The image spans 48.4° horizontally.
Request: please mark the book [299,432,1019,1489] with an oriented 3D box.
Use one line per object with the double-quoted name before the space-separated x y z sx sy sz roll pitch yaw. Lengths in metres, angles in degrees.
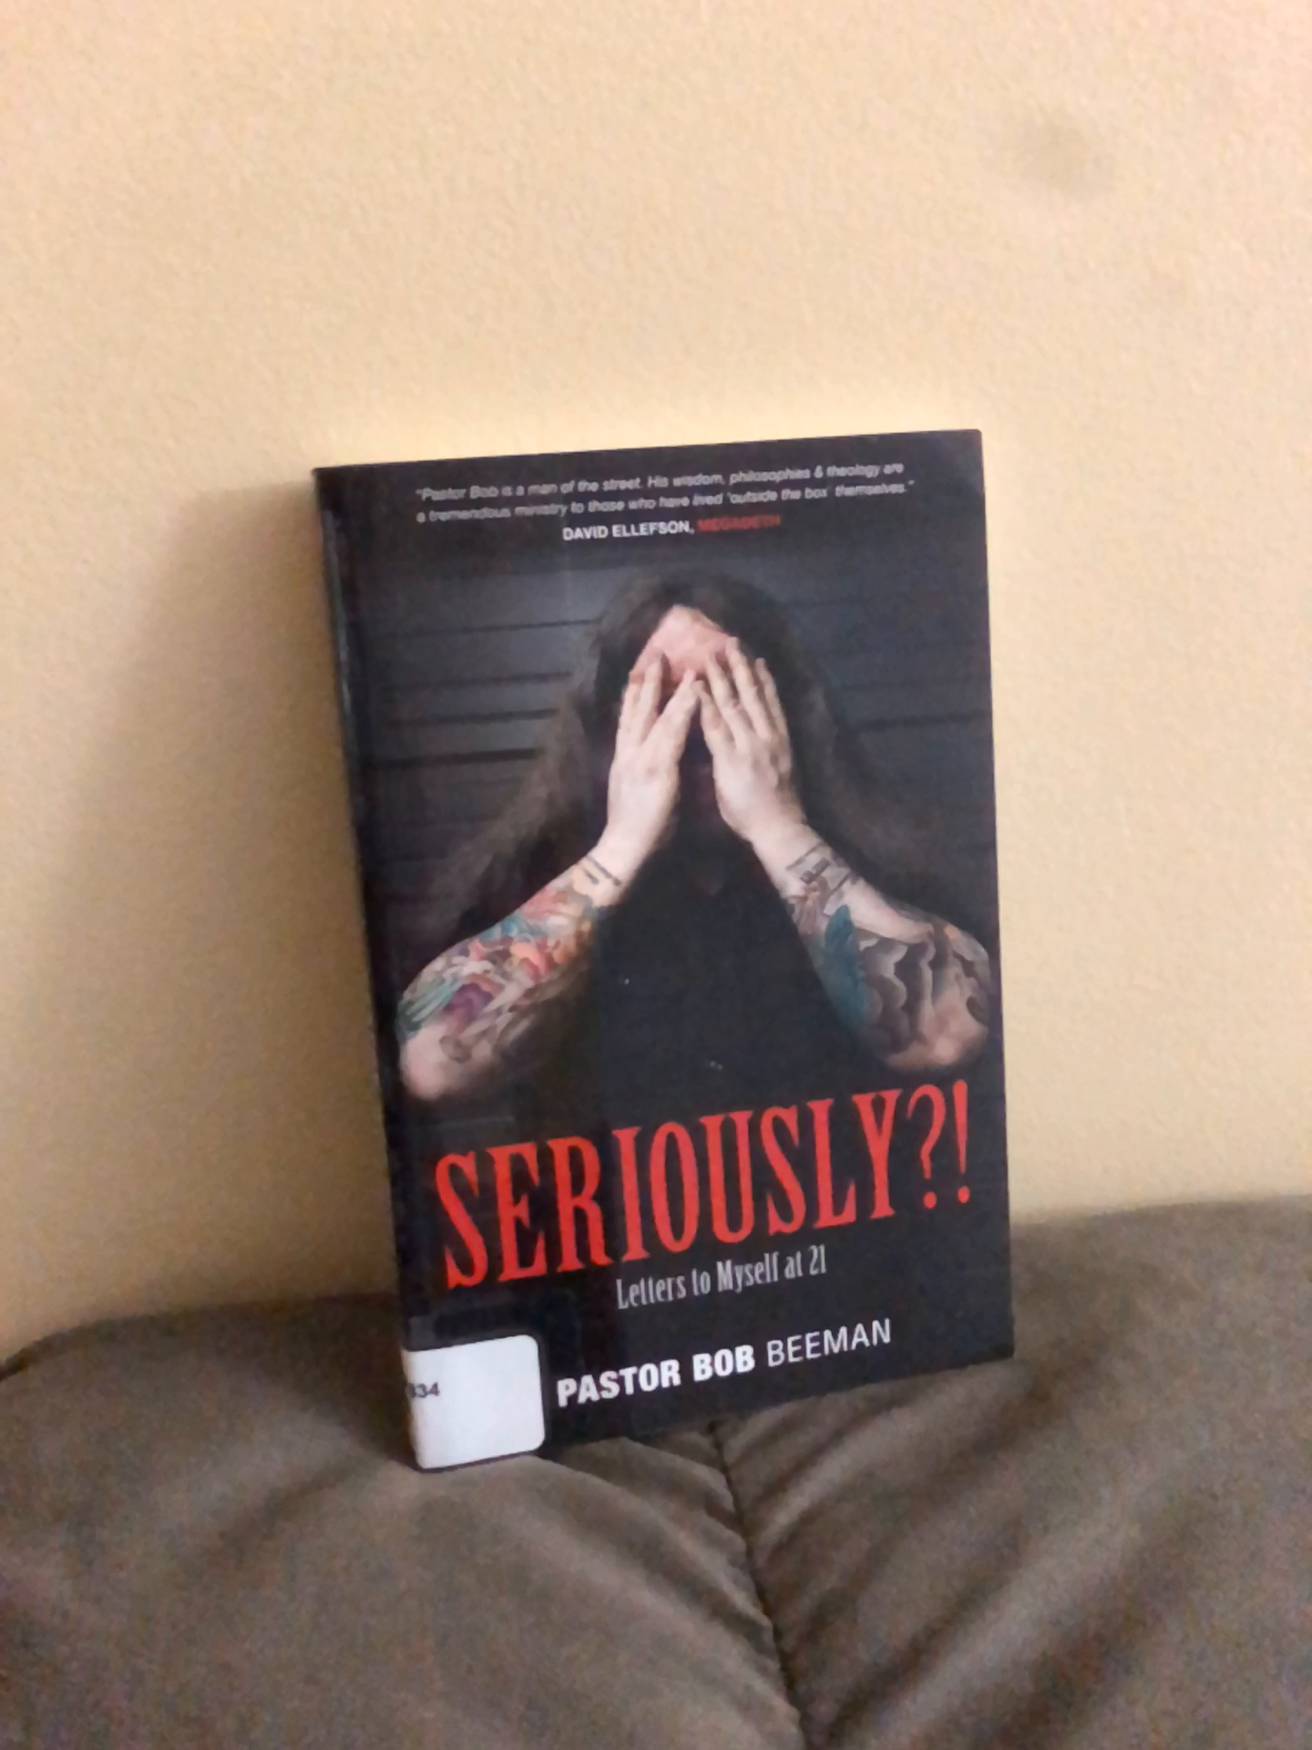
"book" 0.006 0.016 0.311 0.136 0.205 0.023 -7 9 -13
